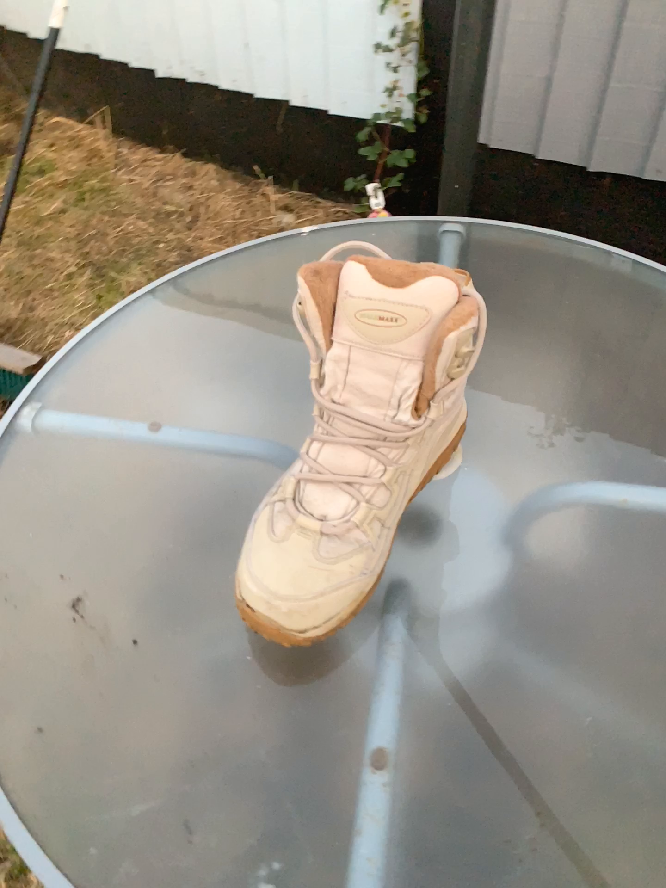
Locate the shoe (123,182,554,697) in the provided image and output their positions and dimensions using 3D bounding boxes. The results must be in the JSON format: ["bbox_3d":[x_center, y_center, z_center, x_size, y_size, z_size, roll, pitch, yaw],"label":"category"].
[{"bbox_3d":[0.024,-0.013,0.471,0.120,0.198,0.282,25,54,23],"label":"shoe"}]
